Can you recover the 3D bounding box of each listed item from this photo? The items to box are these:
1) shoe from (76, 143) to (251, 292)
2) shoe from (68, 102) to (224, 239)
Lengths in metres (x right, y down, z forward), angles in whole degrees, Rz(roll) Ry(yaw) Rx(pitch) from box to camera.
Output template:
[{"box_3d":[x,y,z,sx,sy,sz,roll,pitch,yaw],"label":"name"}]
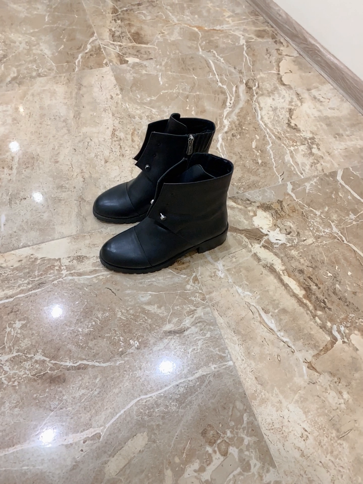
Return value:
[{"box_3d":[-0.028,-0.037,0.644,0.250,0.199,0.090,-16,55,-12],"label":"shoe"},{"box_3d":[-0.058,-0.130,0.711,0.250,0.199,0.090,-15,55,-8],"label":"shoe"}]
